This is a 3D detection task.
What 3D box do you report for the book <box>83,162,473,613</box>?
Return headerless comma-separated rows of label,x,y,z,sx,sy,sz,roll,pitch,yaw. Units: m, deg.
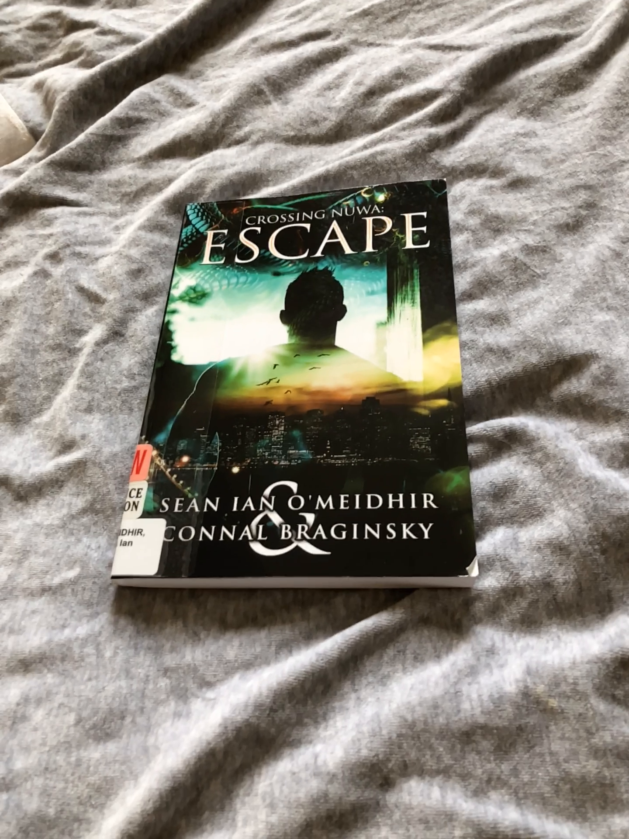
book,-0.010,-0.030,0.358,0.160,0.030,0.250,-2,58,8
